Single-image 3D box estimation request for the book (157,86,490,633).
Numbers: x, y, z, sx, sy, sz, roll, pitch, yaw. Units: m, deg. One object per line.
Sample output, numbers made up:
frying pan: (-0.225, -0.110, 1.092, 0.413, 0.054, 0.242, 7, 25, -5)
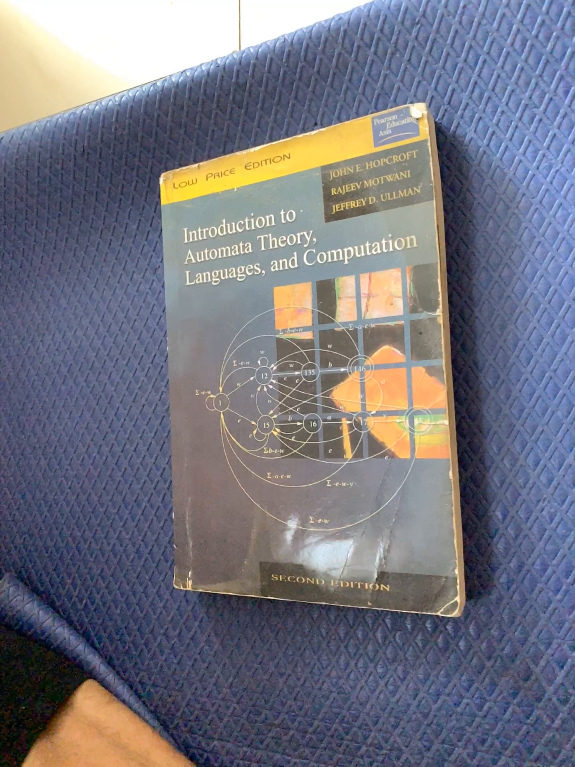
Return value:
book: (0.012, -0.007, 0.303, 0.150, 0.050, 0.230, -5, 84, 27)
